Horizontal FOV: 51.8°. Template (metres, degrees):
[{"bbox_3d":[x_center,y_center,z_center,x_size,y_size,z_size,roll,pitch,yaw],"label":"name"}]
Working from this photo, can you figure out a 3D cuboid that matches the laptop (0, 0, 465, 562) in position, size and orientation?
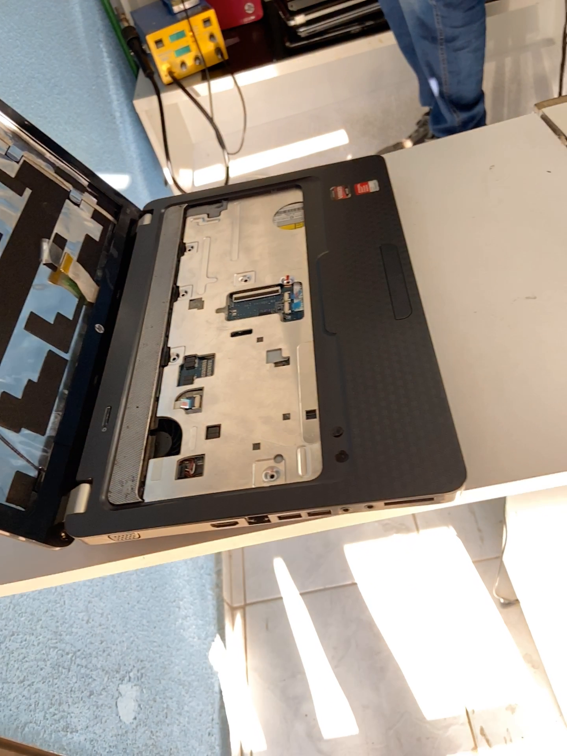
[{"bbox_3d":[-0.100,-0.101,0.374,0.349,0.179,0.340,-9,48,8],"label":"laptop"}]
